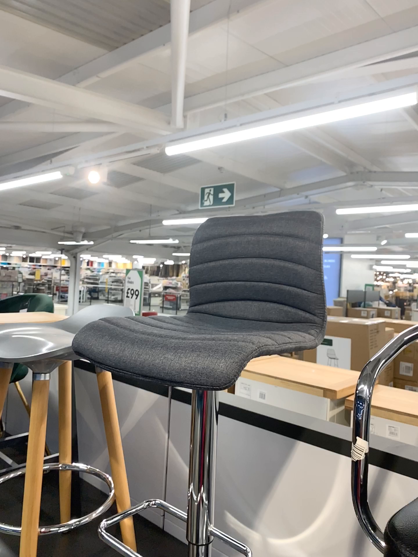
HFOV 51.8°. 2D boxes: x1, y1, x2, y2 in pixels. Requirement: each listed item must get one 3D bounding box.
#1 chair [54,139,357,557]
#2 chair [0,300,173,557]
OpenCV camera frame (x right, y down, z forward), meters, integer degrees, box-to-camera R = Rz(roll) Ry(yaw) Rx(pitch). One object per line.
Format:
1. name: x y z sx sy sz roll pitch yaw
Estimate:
1. chair: 0.015 0.304 0.951 0.446 1.031 0.452 1 -2 37
2. chair: -0.434 0.443 1.207 0.446 0.741 0.452 1 -2 37
